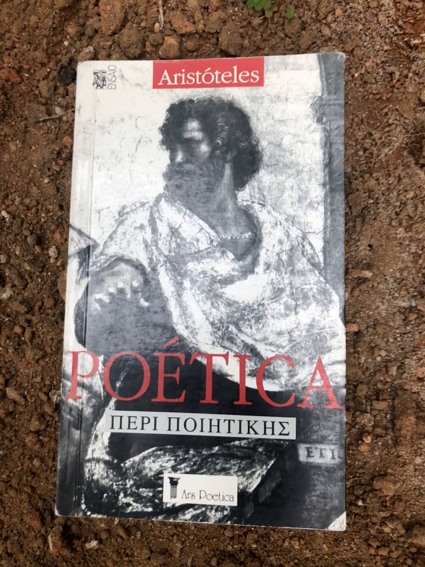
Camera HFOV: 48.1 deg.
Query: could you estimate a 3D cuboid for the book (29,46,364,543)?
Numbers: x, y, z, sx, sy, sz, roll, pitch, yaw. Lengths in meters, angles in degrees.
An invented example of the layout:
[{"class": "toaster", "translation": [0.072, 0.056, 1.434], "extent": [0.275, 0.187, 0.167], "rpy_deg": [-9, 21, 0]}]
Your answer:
[{"class": "book", "translation": [-0.006, 0.001, 0.197], "extent": [0.130, 0.015, 0.189], "rpy_deg": [0, 86, 7]}]
